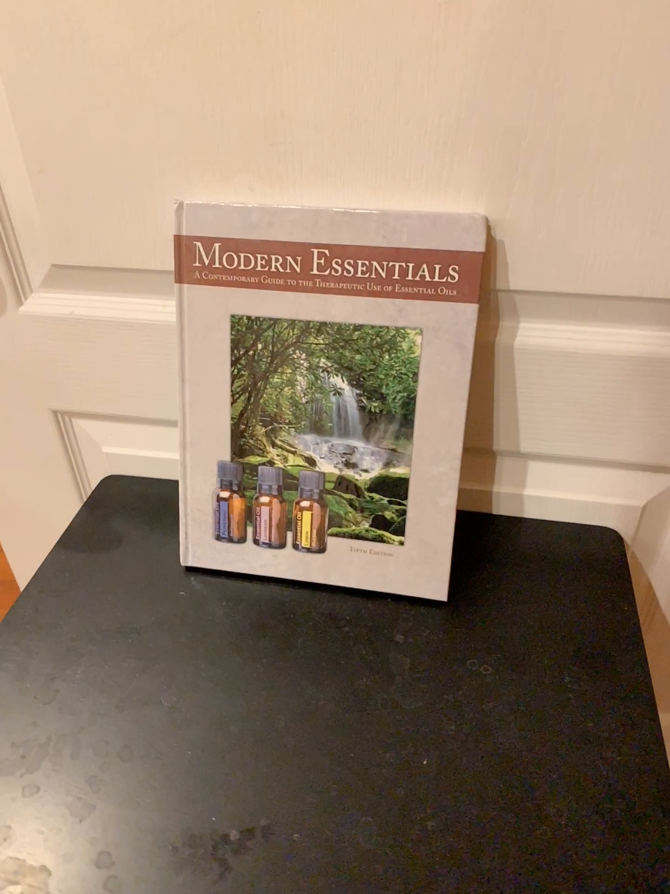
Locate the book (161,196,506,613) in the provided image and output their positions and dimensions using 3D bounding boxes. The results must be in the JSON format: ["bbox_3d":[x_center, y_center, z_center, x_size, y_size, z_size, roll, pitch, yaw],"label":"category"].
[{"bbox_3d":[-0.009,-0.028,0.509,0.230,0.289,0.030,6,18,10],"label":"book"}]
